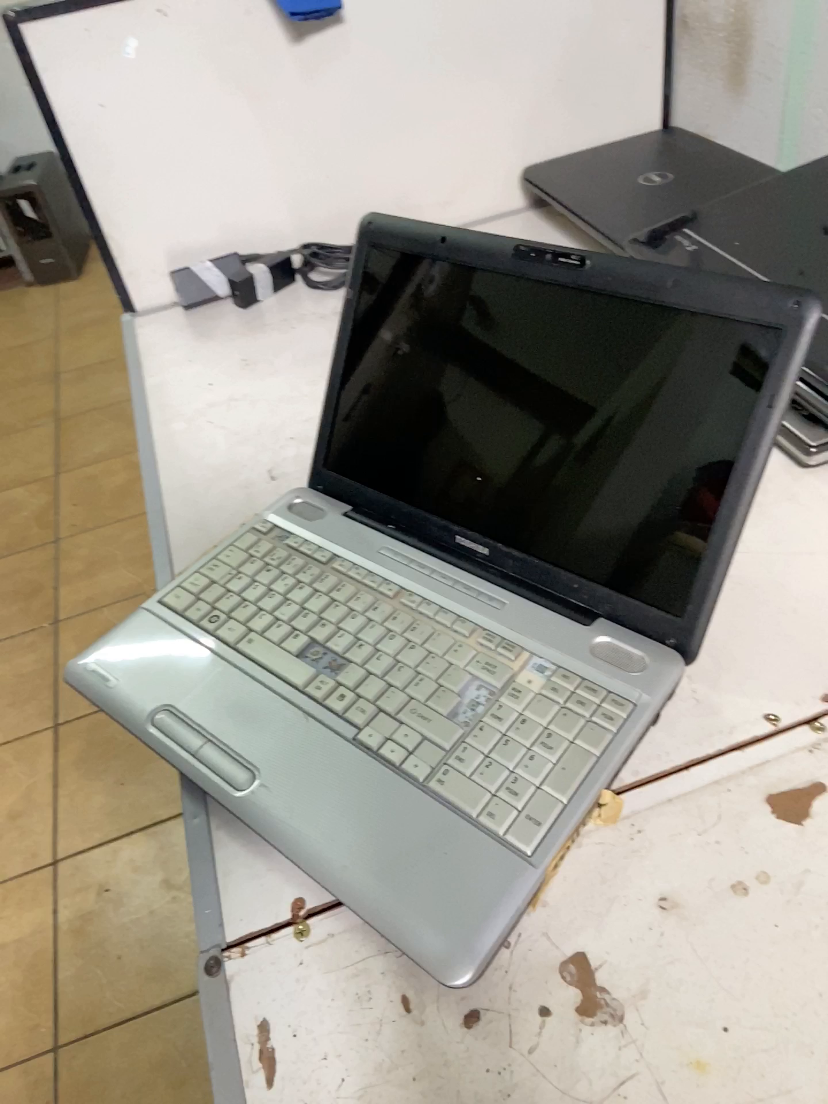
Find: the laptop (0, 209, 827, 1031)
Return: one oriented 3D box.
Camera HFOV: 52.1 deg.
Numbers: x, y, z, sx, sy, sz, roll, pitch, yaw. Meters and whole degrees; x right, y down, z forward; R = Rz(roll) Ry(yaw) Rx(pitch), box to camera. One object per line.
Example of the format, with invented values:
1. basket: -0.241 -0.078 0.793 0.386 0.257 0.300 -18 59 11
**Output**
1. laptop: 0.012 -0.025 0.539 0.371 0.190 0.400 24 52 33
